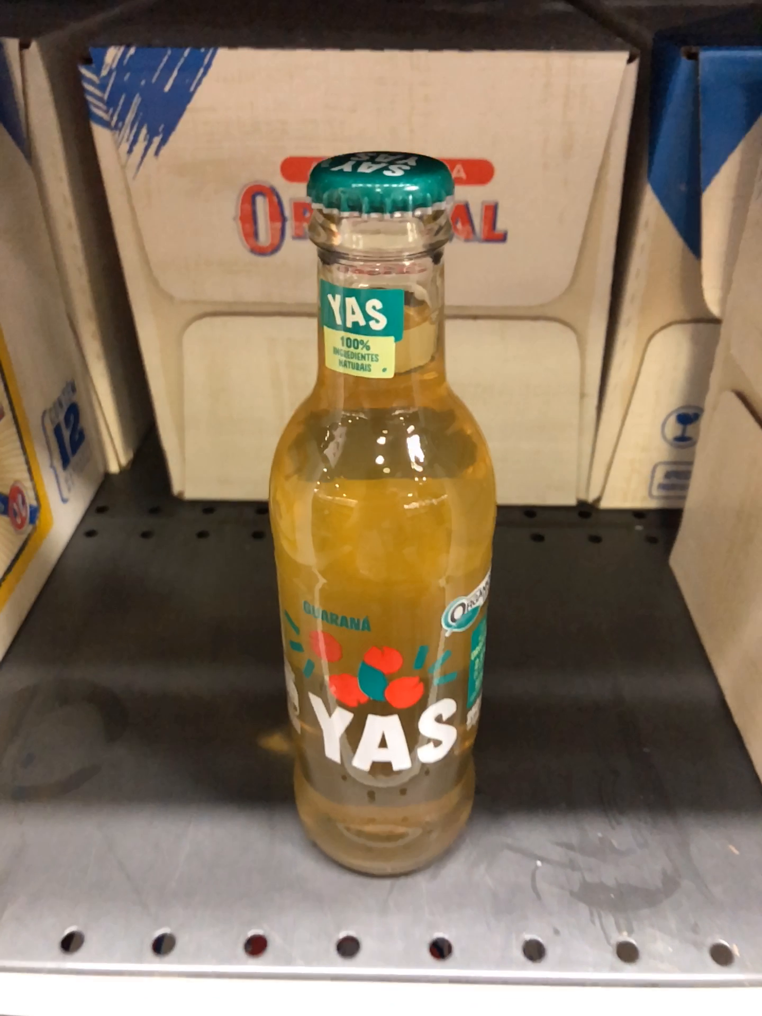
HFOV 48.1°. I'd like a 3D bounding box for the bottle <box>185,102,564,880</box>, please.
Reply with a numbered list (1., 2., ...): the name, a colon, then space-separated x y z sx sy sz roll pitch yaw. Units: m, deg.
1. bottle: -0.001 0.011 0.218 0.060 0.199 0.060 0 36 0
